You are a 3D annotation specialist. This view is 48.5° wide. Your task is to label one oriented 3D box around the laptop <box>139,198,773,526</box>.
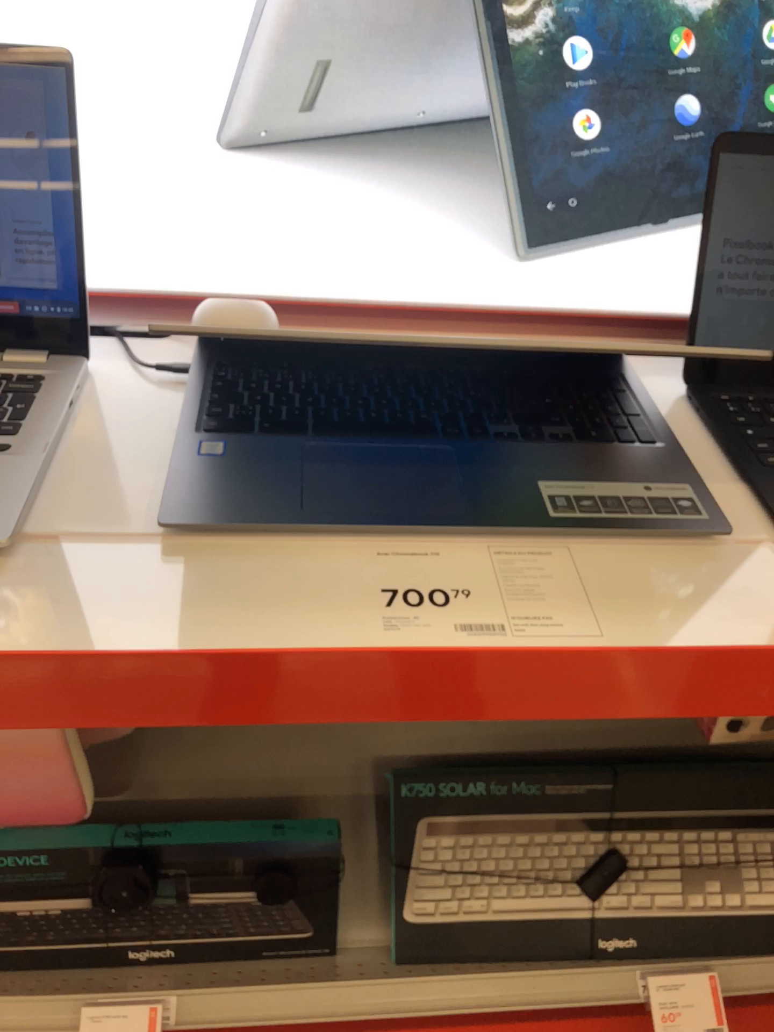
[{"bbox_3d":[0.040,-0.114,0.602,0.368,0.109,0.245,1,38,-9],"label":"laptop"}]
